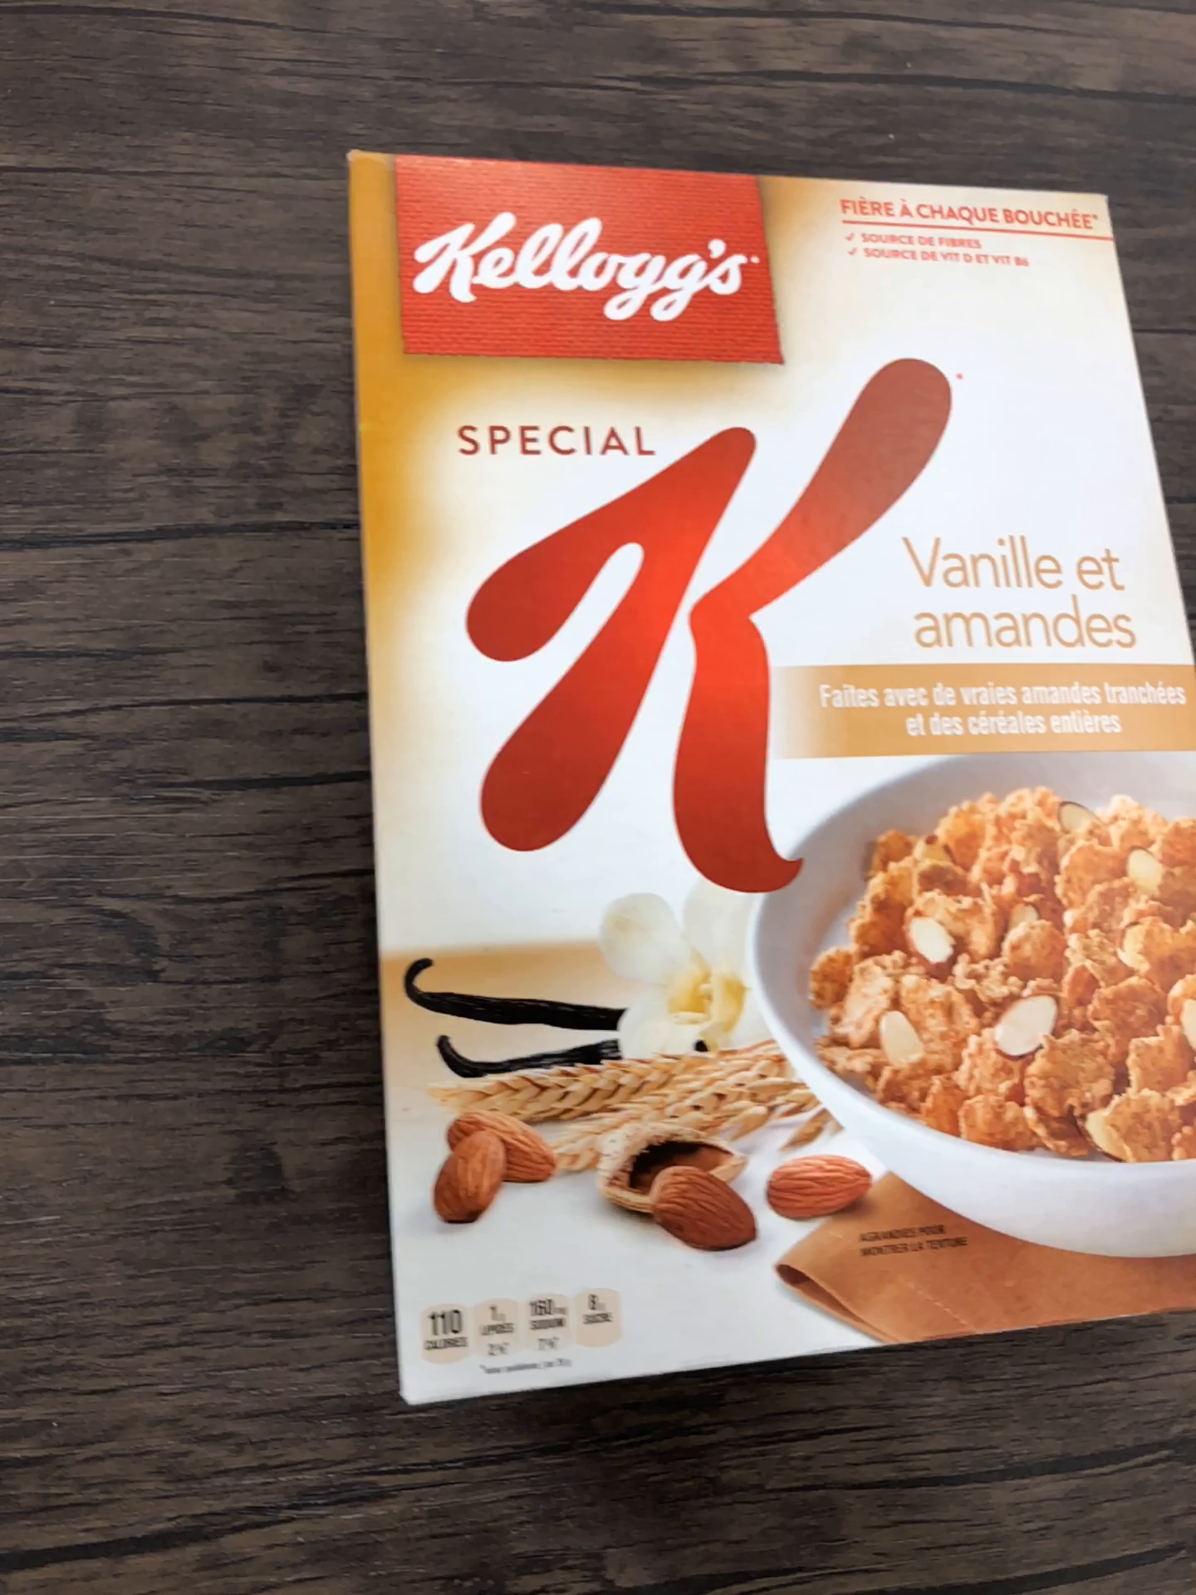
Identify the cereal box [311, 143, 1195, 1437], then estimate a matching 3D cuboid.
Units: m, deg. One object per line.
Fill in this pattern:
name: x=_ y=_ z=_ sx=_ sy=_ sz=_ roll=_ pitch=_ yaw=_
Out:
cereal box: x=0.038 y=-0.011 z=0.320 sx=0.200 sy=0.060 sz=0.270 roll=-2 pitch=78 yaw=-11
